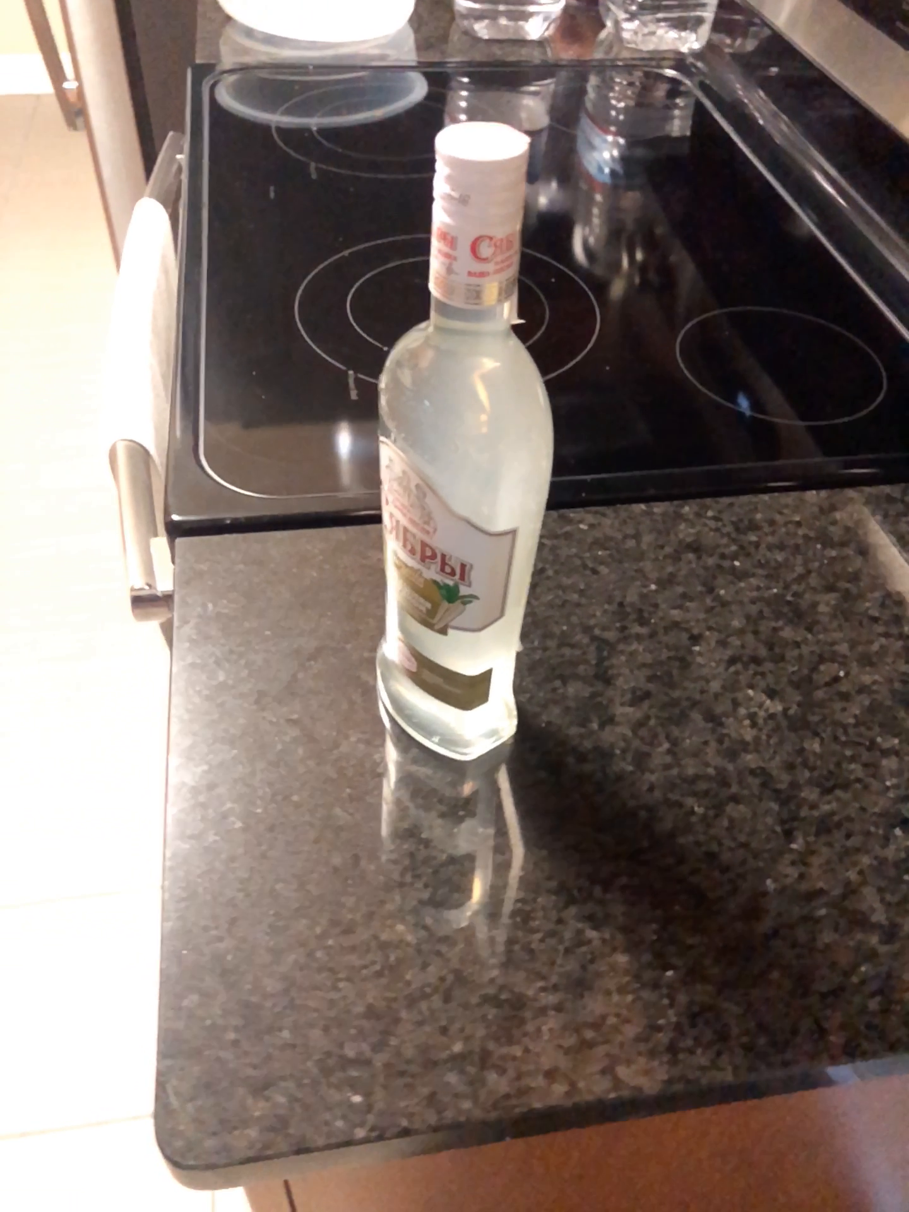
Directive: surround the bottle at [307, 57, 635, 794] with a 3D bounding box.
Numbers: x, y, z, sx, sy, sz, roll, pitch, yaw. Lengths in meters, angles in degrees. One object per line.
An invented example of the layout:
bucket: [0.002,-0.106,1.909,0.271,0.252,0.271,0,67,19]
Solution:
bottle: [-0.004,-0.049,0.391,0.060,0.269,0.090,-20,50,-21]
